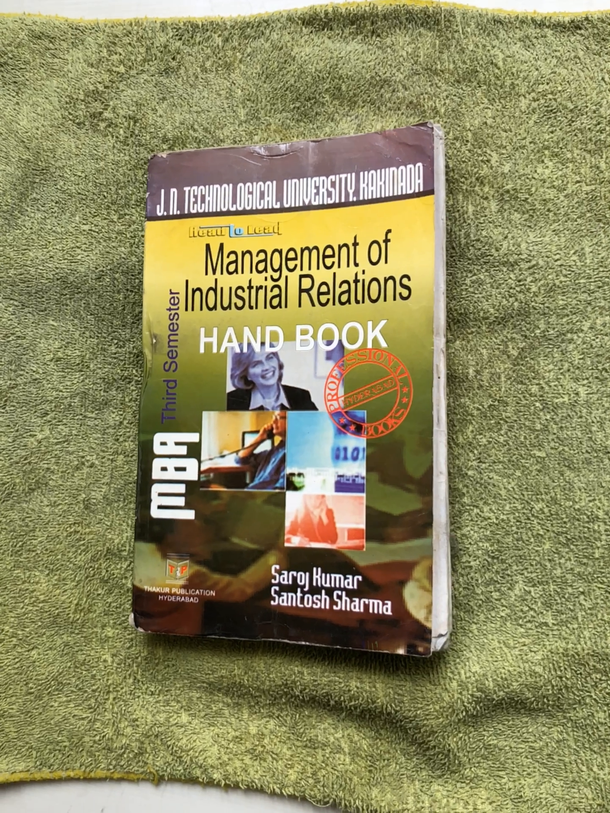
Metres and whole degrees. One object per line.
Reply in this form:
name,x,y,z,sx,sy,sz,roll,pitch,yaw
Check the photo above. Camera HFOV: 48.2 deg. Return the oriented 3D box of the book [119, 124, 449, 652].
book,-0.005,-0.009,0.319,0.140,0.050,0.220,0,84,11
